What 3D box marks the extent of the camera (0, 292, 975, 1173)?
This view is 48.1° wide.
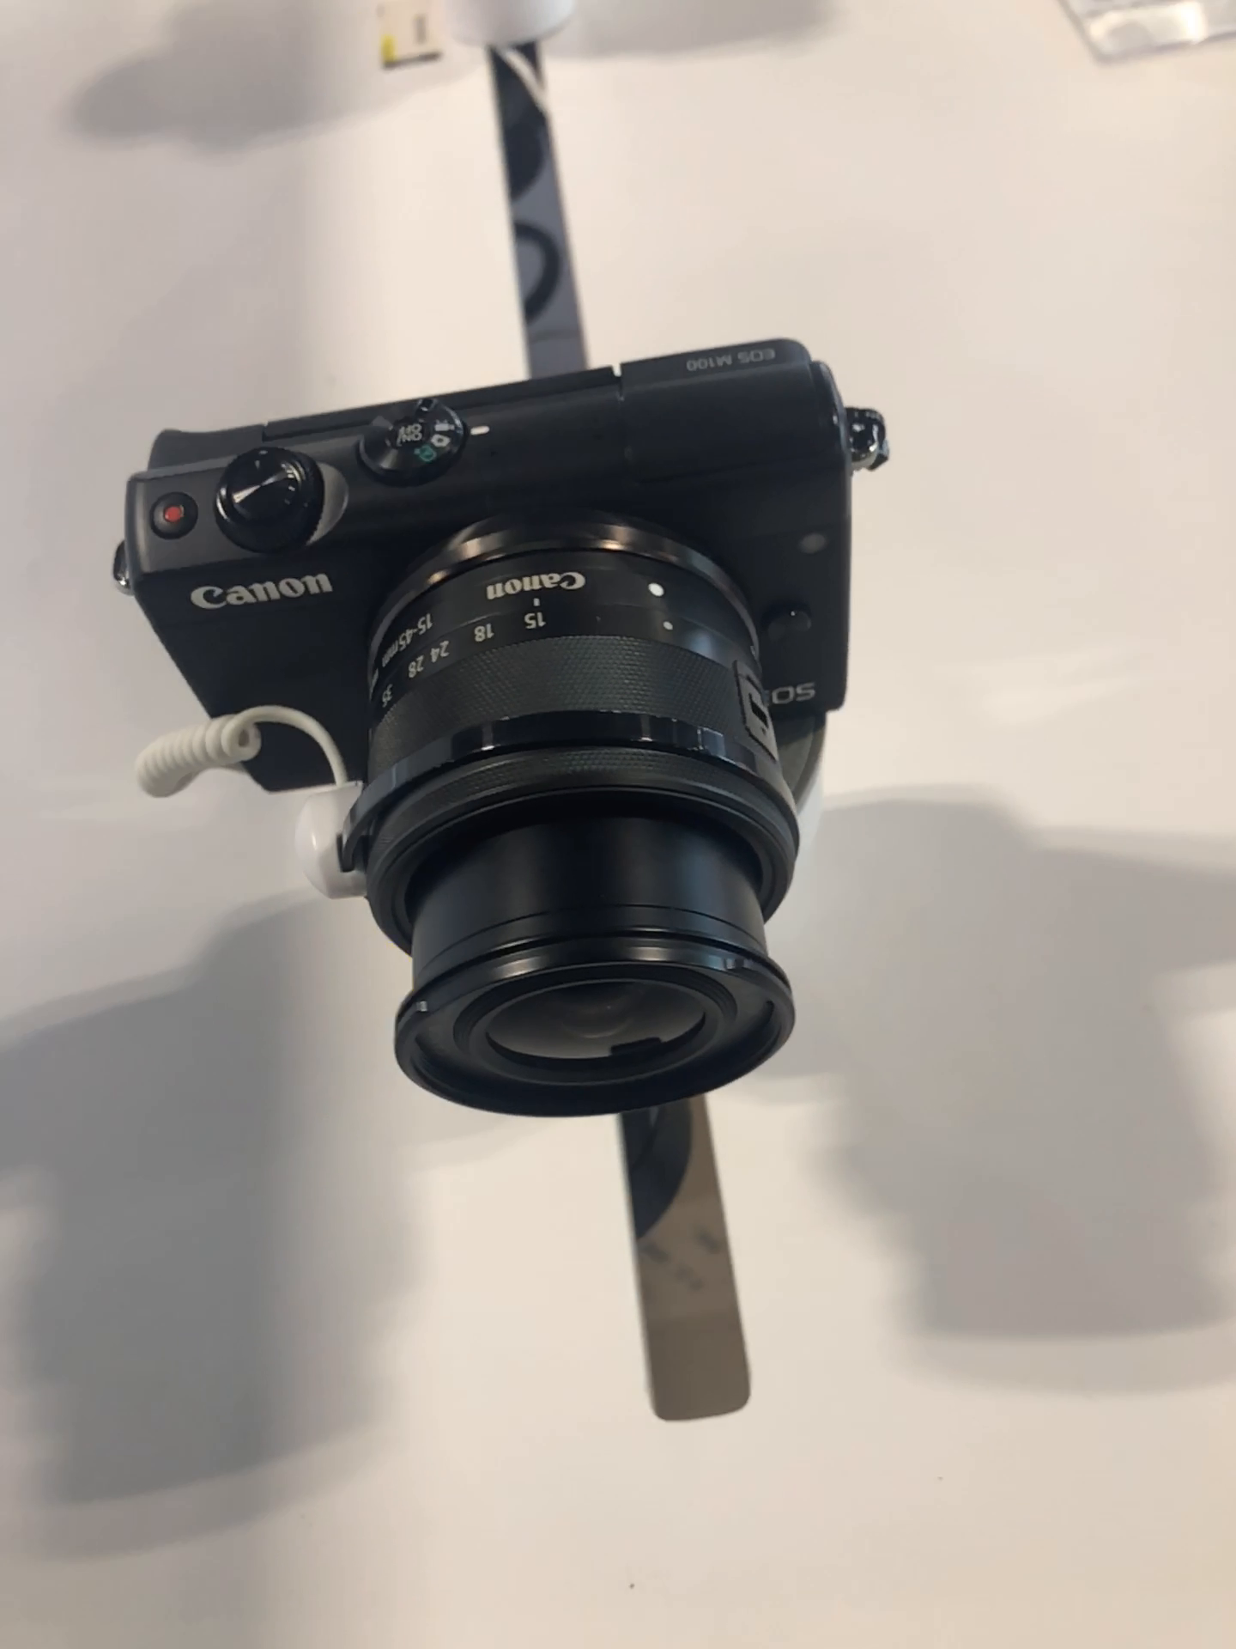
[{"bbox_3d":[-0.014,-0.010,0.205,0.110,0.072,0.091,-8,57,5],"label":"camera"}]
